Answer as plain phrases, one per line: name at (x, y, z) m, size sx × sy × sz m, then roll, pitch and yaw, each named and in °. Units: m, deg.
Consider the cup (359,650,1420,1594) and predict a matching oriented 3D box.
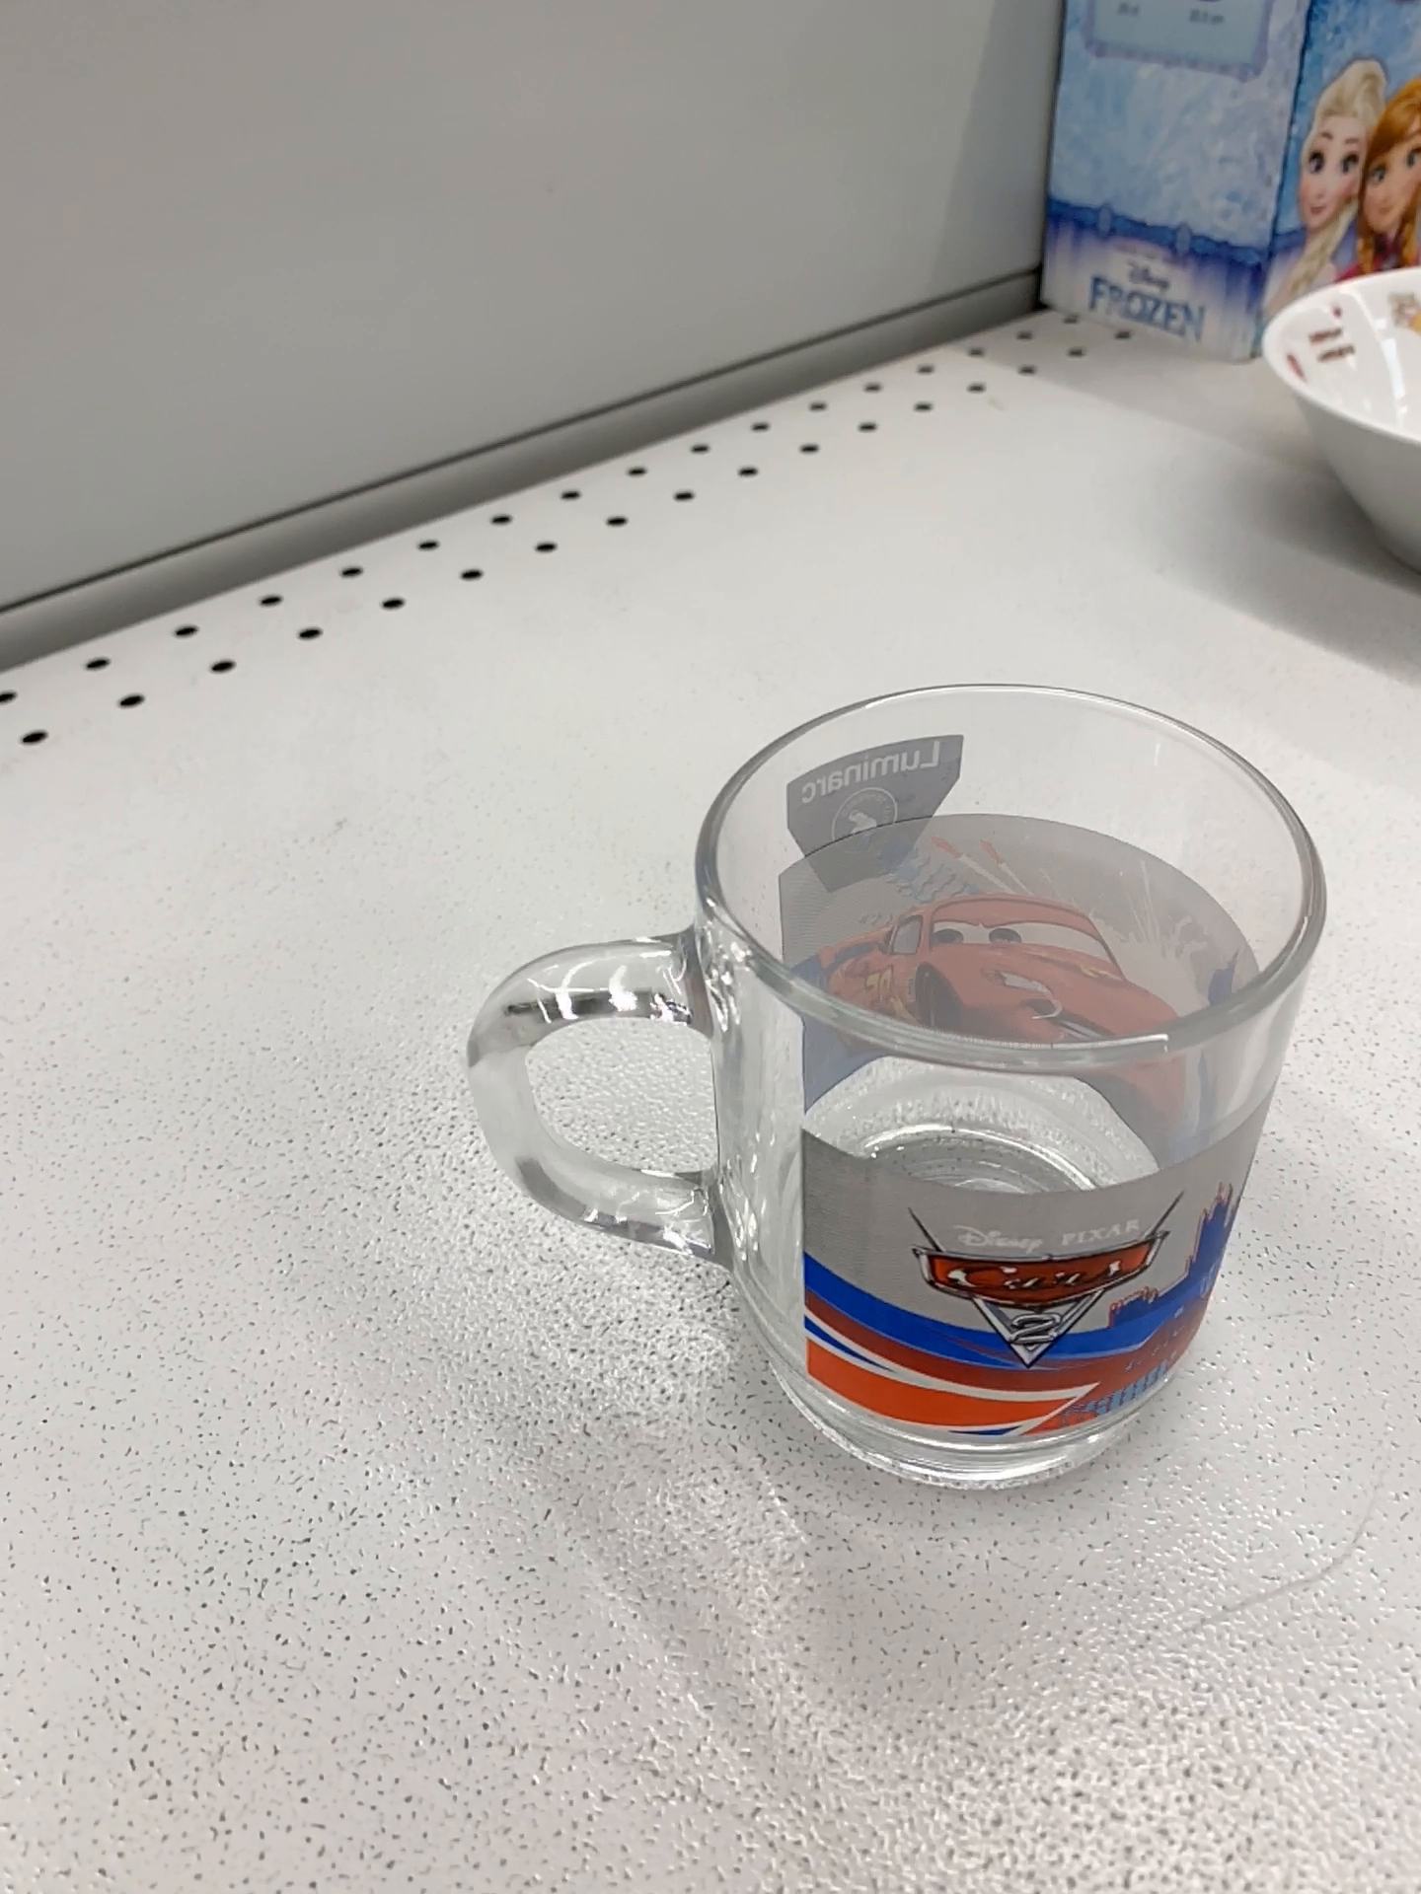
cup at (0.021, 0.023, 0.193) m, size 0.108 × 0.087 × 0.071 m, roll -6°, pitch 41°, yaw -2°
